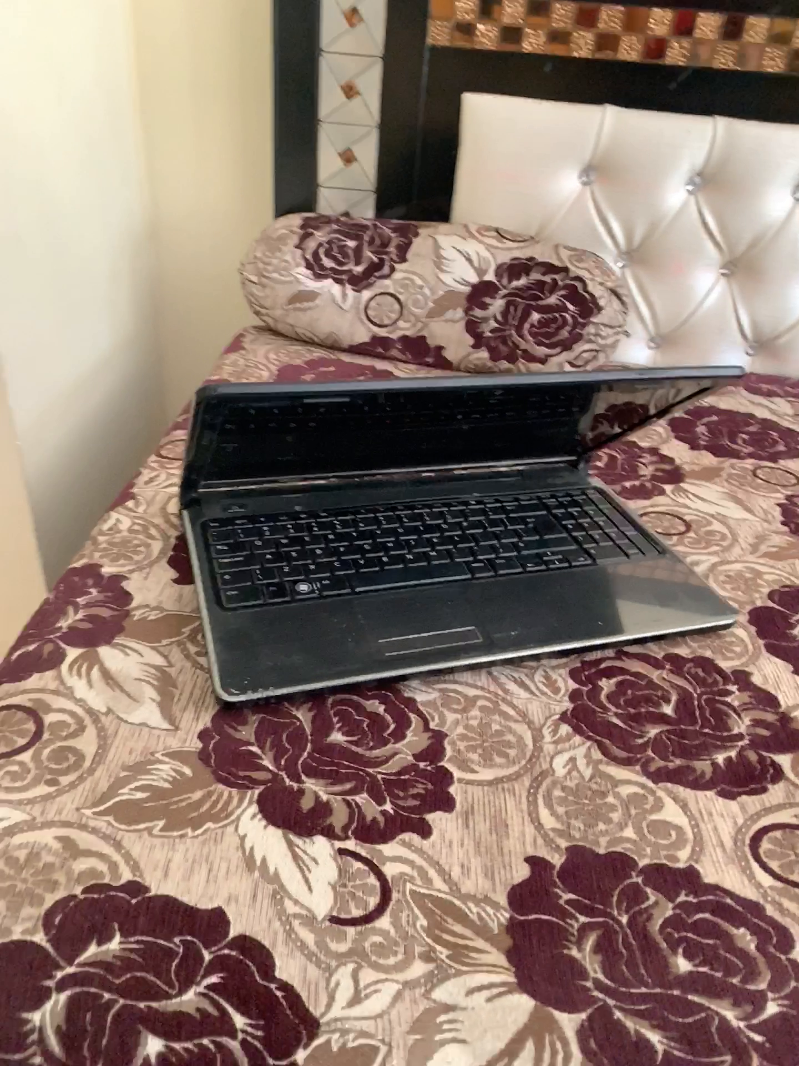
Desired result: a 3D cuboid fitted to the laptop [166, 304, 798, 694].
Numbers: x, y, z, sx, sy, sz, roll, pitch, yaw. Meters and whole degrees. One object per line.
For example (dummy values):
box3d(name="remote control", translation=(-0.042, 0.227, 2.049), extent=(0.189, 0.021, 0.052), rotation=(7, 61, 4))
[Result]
box3d(name="laptop", translation=(0.039, -0.048, 0.579), extent=(0.363, 0.154, 0.222), rotation=(-6, 34, -17))
